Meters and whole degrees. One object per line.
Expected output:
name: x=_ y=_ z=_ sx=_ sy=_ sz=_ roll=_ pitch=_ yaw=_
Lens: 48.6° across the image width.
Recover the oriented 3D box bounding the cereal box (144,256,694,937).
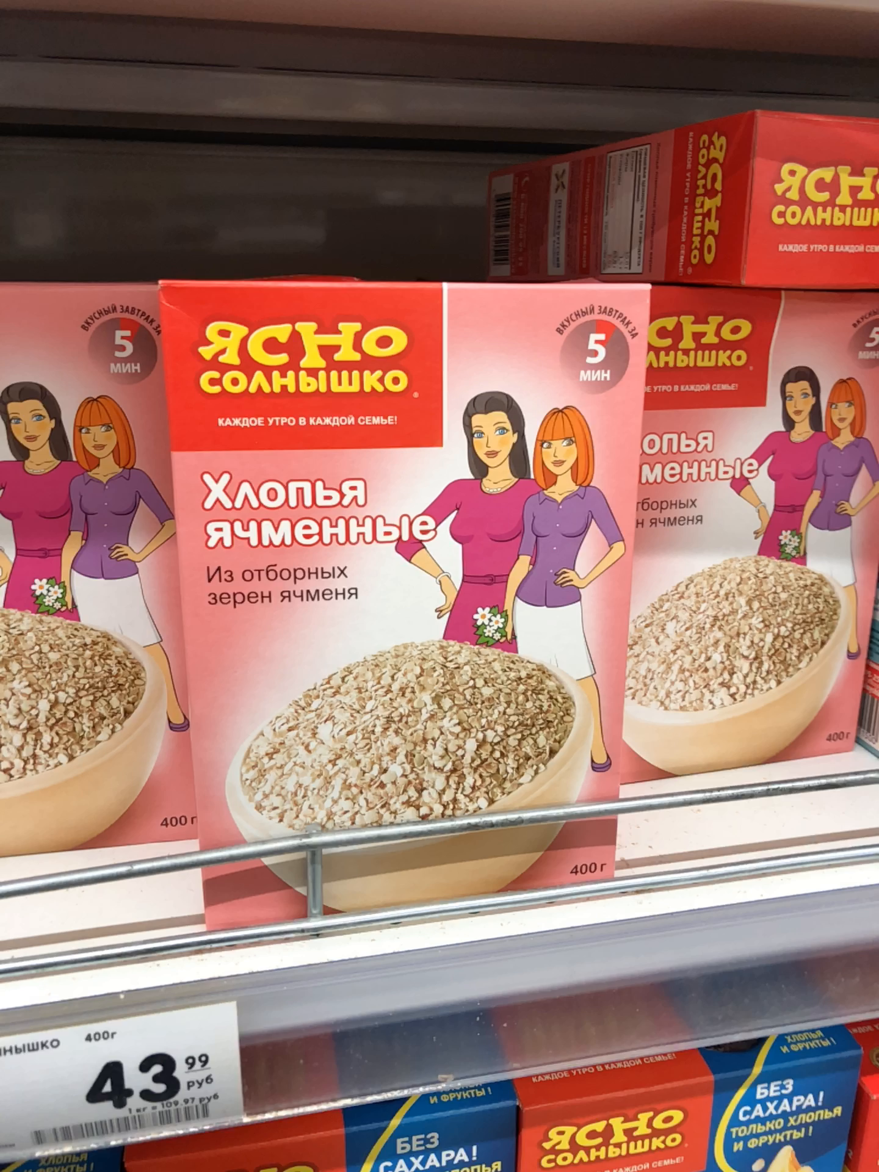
cereal box: x=-0.006 y=0.001 z=0.295 sx=0.140 sy=0.189 sz=0.050 roll=-3 pitch=17 yaw=-10
